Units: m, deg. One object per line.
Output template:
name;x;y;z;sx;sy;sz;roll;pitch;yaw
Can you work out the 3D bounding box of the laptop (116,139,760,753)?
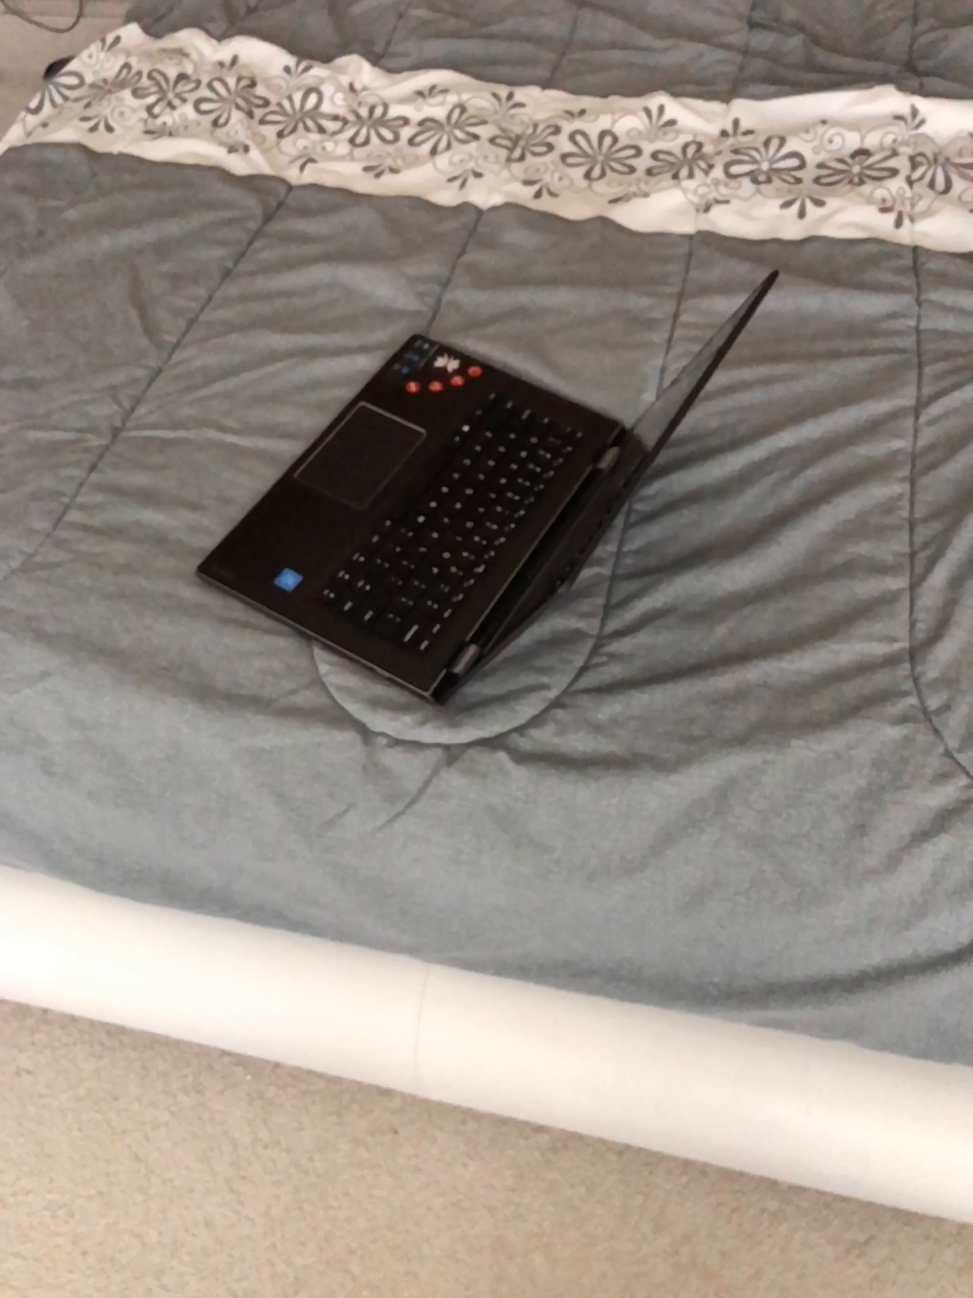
laptop;-0.021;-0.184;0.916;0.352;0.214;0.362;26;61;17
